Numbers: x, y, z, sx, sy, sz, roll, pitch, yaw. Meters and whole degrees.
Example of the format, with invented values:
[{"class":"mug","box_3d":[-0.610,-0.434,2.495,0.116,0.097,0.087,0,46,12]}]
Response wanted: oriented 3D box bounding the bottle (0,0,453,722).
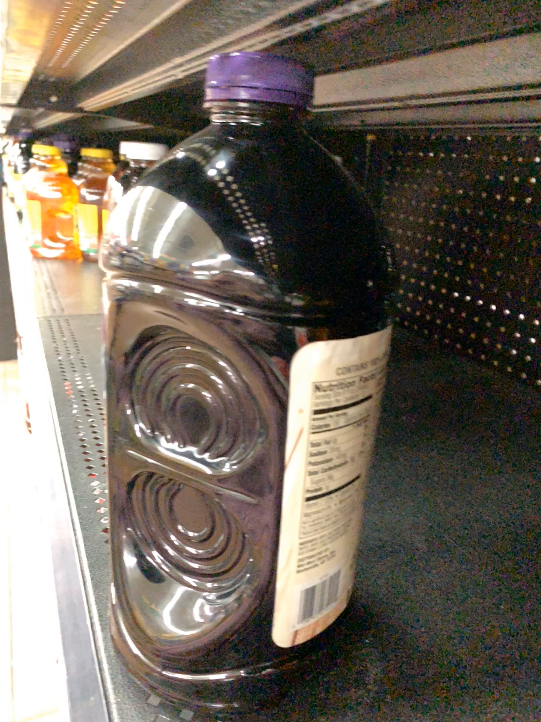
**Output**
[{"class":"bottle","box_3d":[-0.025,0.008,0.270,0.140,0.279,0.130,2,20,-1]}]
